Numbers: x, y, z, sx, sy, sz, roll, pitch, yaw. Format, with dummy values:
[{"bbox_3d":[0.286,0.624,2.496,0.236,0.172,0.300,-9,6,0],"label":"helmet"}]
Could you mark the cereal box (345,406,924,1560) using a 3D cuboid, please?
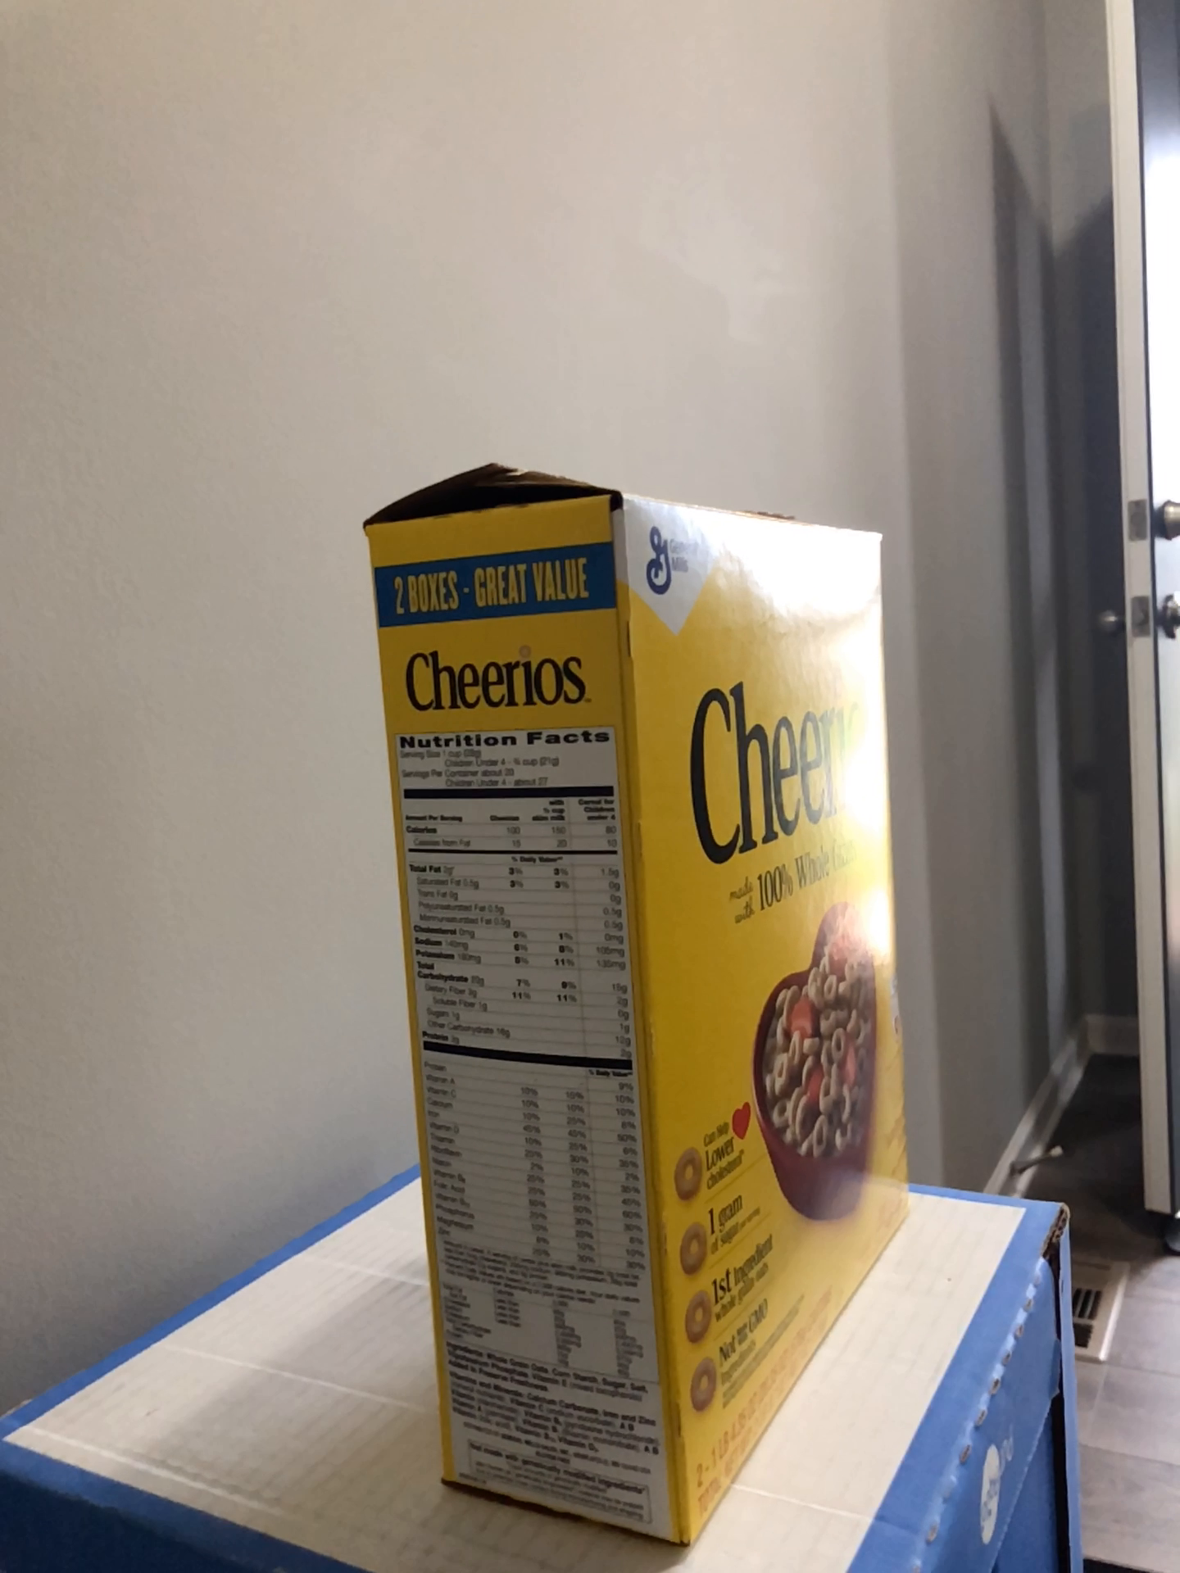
[{"bbox_3d":[0.037,0.044,0.470,0.090,0.310,0.240,-1,6,29],"label":"cereal box"}]
